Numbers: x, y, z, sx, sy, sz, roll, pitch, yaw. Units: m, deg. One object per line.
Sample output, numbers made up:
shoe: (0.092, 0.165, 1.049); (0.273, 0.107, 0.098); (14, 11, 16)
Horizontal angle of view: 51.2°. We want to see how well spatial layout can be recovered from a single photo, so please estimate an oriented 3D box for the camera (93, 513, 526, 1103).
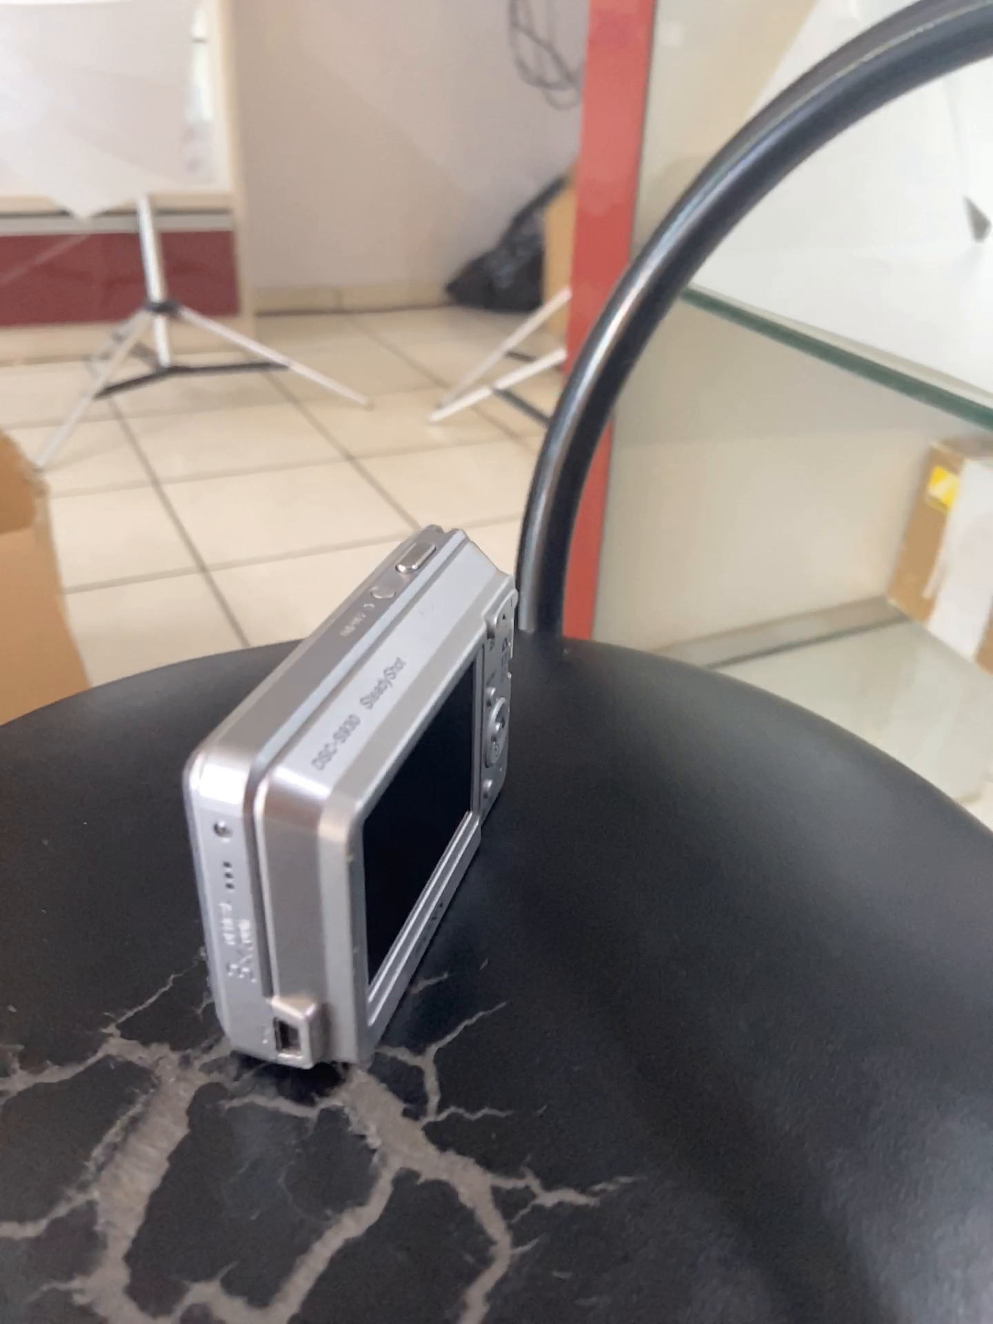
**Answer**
camera: (-0.025, 0.019, 0.181); (0.035, 0.057, 0.083); (12, 33, 14)
